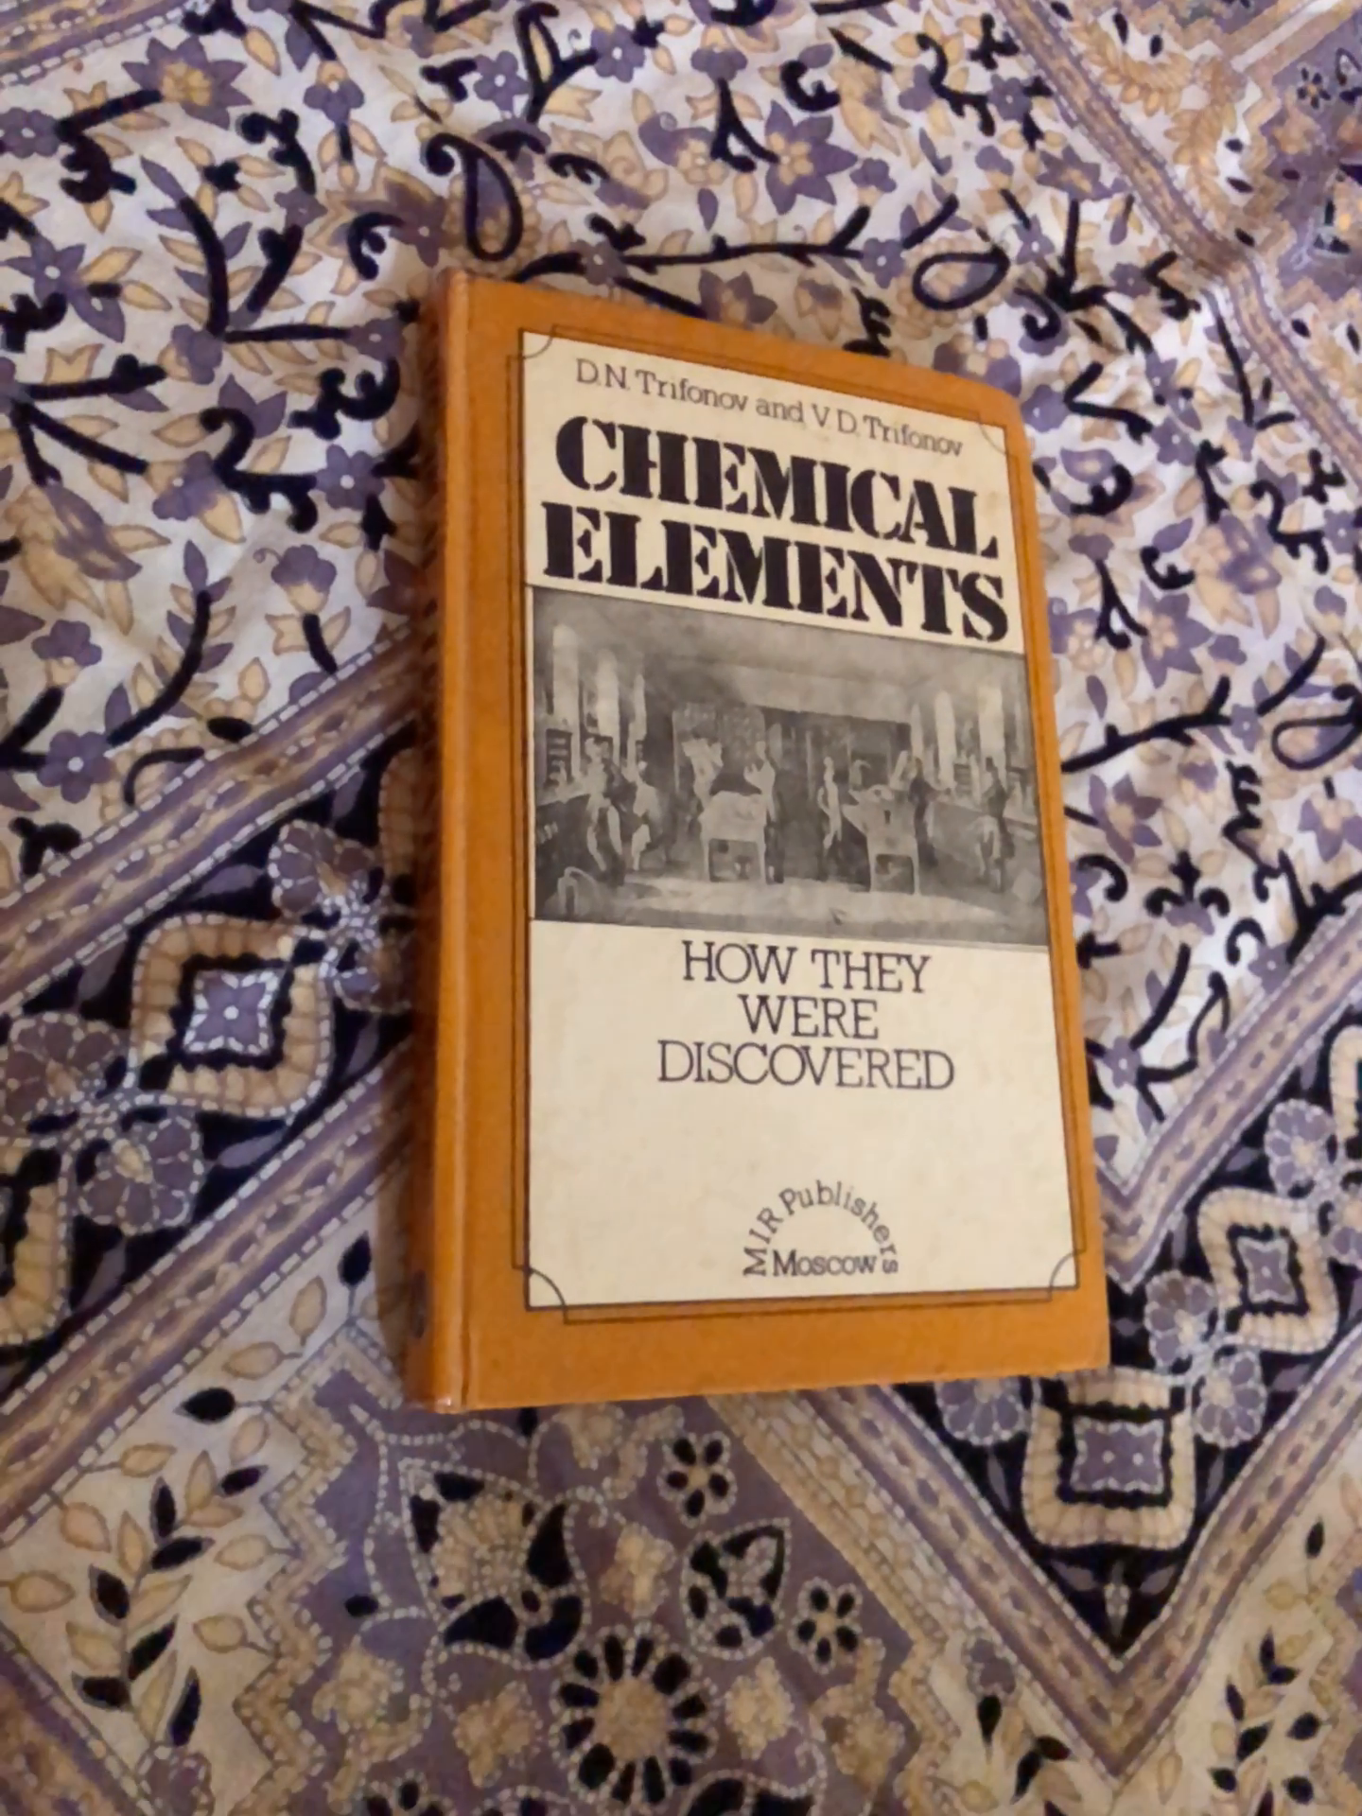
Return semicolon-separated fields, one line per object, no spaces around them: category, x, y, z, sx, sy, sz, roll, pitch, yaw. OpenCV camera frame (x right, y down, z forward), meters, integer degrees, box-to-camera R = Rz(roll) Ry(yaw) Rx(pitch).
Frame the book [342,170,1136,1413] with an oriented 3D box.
book;0.010;-0.022;0.296;0.140;0.030;0.220;4;75;-22
